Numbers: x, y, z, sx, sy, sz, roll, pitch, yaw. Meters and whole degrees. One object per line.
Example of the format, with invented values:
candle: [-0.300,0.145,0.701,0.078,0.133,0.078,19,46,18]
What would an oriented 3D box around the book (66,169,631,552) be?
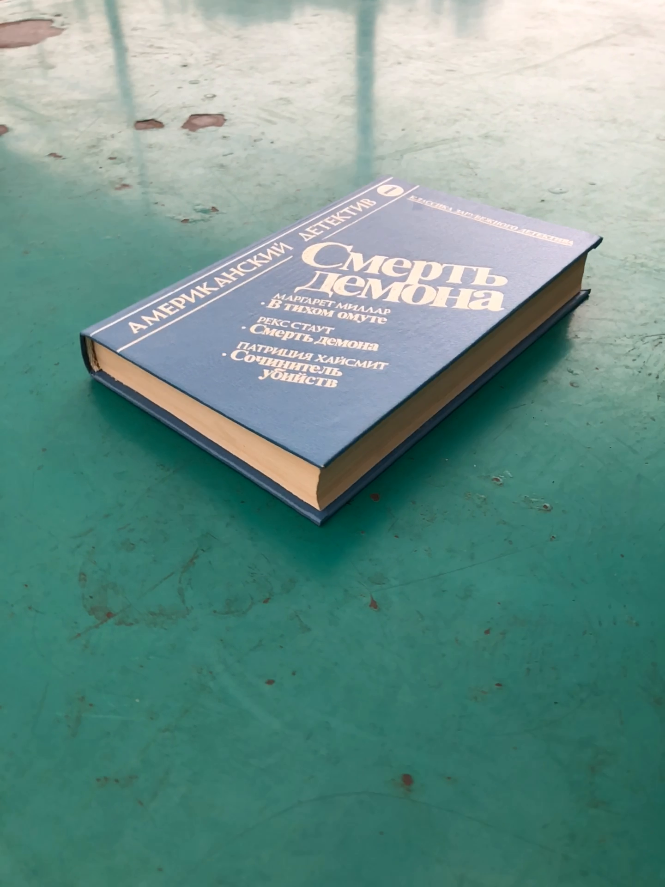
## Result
book: [0.016,-0.059,0.331,0.142,0.034,0.212,29,49,31]
